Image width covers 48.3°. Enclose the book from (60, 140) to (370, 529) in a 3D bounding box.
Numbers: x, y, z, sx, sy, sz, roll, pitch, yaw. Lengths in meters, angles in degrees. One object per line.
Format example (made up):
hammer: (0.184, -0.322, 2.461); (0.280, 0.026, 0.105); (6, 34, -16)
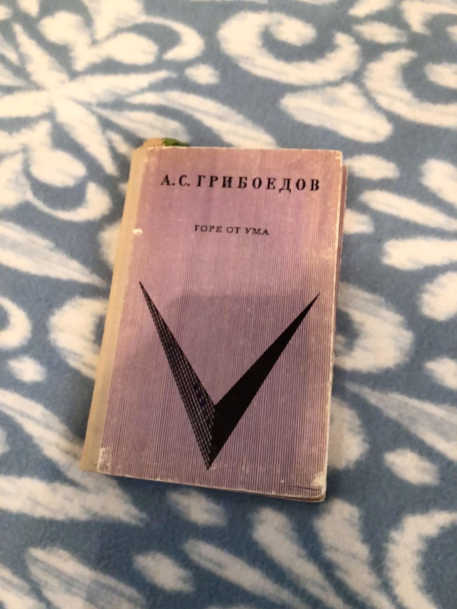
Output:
book: (-0.003, 0.005, 0.306); (0.158, 0.020, 0.217); (4, 76, 10)
